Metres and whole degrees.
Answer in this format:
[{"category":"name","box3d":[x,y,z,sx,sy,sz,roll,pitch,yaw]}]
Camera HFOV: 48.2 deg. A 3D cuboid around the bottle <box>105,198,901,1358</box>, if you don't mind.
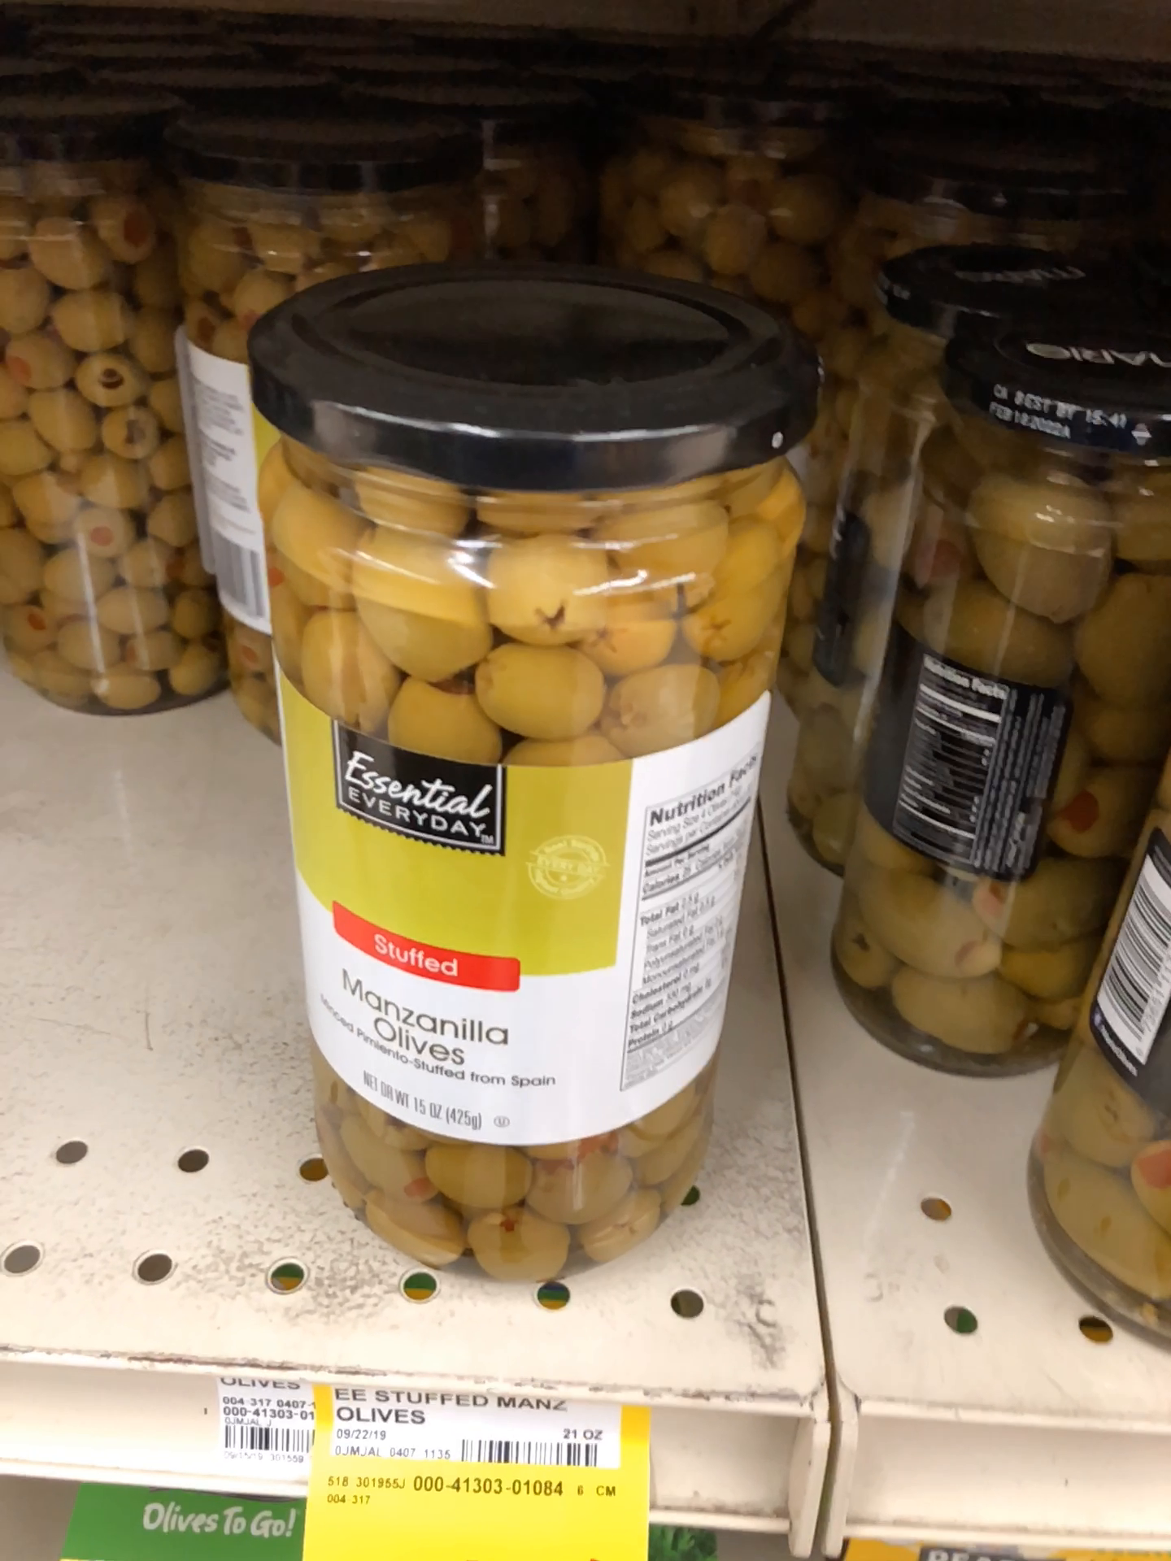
[{"category":"bottle","box3d":[-0.010,0.003,0.215,0.080,0.163,0.070,15,36,17]}]
